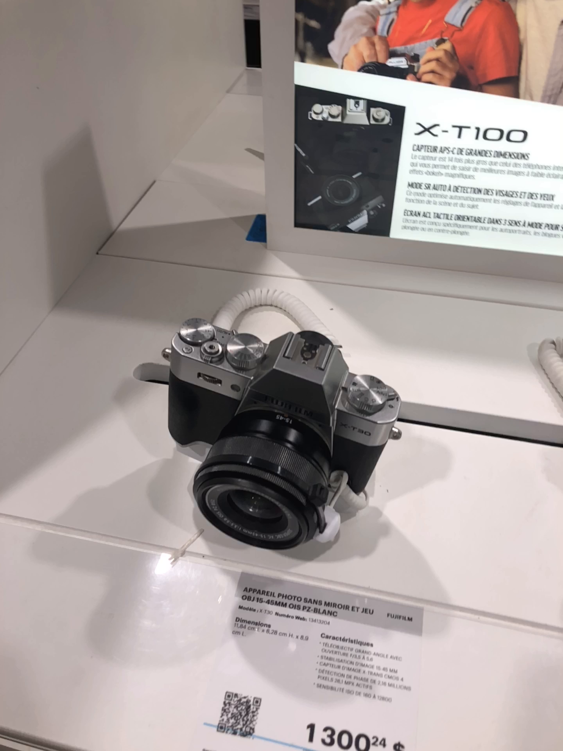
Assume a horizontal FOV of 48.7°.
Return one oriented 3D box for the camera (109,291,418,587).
[{"bbox_3d":[-0.008,0.032,0.340,0.130,0.089,0.091,17,45,11],"label":"camera"}]
